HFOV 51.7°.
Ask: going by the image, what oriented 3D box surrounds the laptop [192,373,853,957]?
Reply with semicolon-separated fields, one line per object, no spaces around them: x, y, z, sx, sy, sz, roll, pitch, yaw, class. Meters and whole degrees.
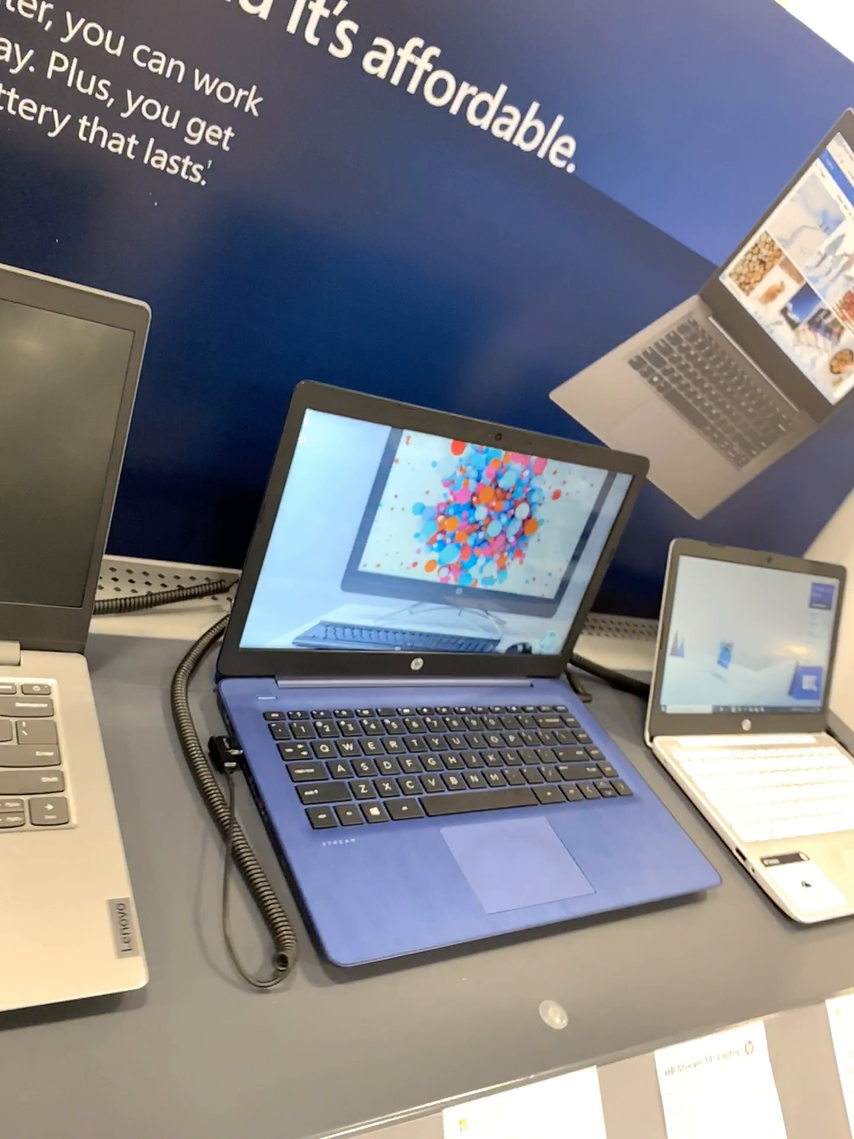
0.061;0.055;0.588;0.322;0.208;0.253;6;33;-37;laptop
